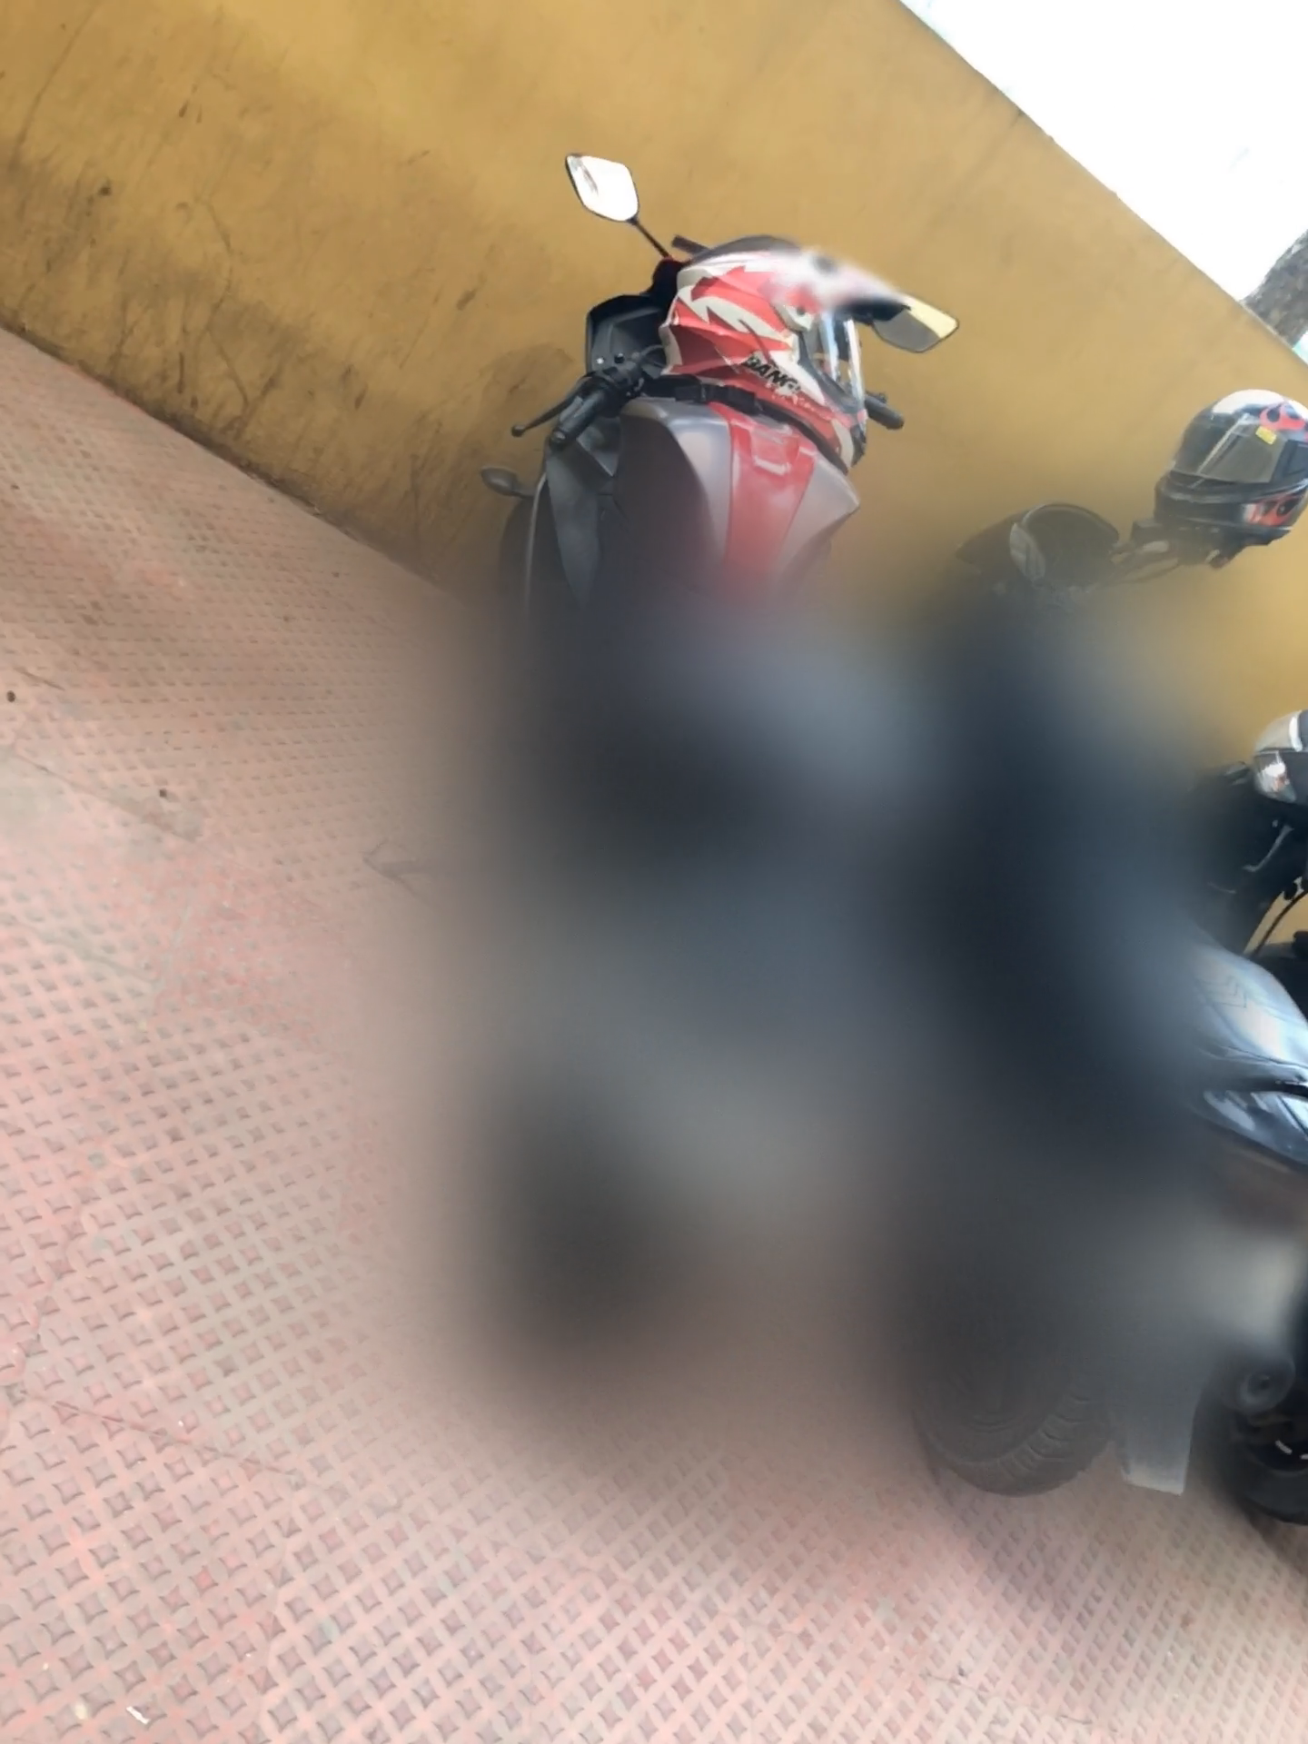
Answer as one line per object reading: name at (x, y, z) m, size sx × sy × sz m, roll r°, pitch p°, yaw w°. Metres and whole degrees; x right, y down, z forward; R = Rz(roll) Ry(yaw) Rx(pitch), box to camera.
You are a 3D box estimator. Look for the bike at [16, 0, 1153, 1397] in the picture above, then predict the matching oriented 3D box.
bike at (-0.190, -0.446, 2.013) m, size 0.726 × 0.870 × 1.752 m, roll 25°, pitch 36°, yaw -28°
